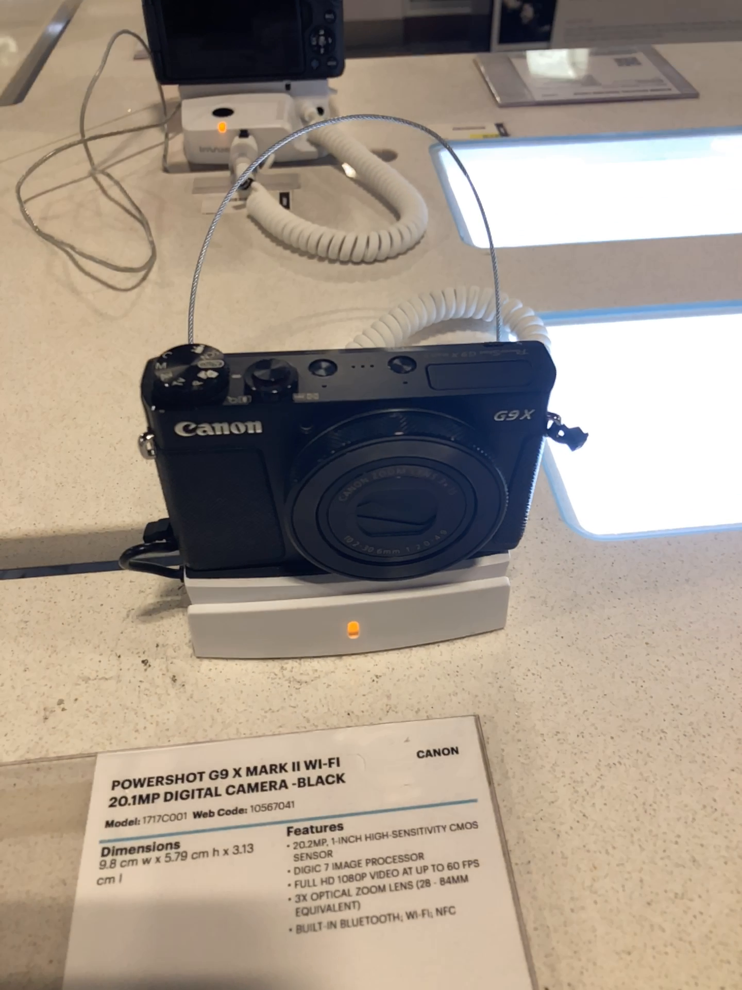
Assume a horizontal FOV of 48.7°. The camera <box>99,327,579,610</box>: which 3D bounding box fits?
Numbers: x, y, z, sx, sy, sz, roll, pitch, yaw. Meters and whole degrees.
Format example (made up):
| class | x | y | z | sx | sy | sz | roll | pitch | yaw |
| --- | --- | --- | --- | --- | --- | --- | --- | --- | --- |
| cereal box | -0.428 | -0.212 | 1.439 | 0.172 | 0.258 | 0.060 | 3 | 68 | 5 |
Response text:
| class | x | y | z | sx | sy | sz | roll | pitch | yaw |
| --- | --- | --- | --- | --- | --- | --- | --- | --- | --- |
| camera | -0.007 | -0.005 | 0.202 | 0.100 | 0.060 | 0.030 | -3 | 44 | -2 |
